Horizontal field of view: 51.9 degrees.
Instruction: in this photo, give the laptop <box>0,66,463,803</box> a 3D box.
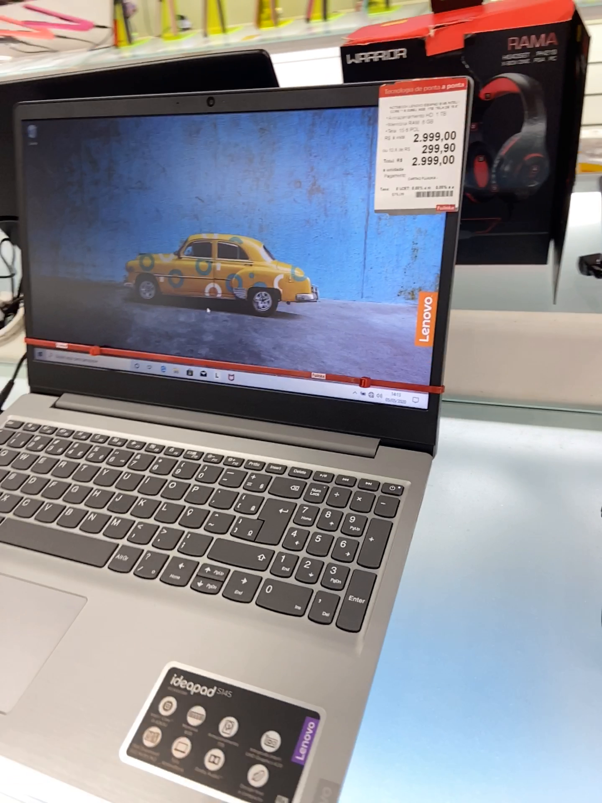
[{"bbox_3d":[-0.118,-0.029,0.389,0.368,0.209,0.381,6,42,21],"label":"laptop"}]
